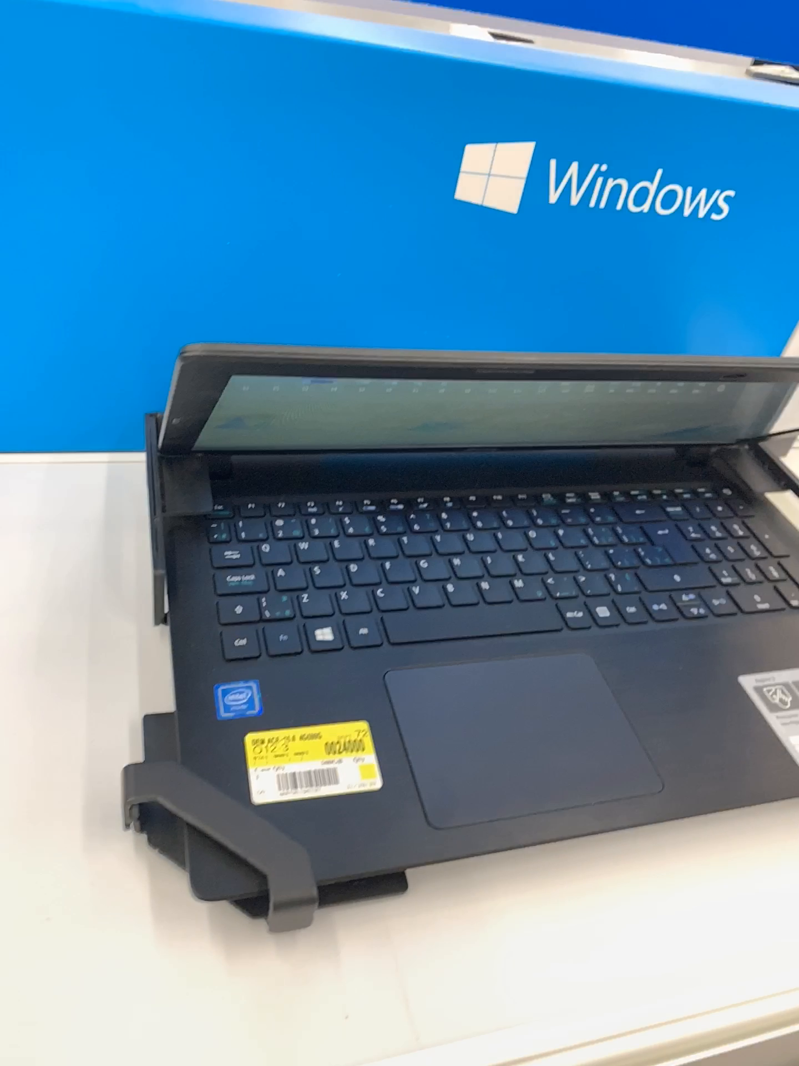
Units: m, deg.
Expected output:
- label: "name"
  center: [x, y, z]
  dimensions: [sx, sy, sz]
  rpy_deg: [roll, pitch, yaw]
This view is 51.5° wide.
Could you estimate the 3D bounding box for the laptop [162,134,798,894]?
- label: "laptop"
  center: [0.085, -0.030, 0.343]
  dimensions: [0.344, 0.157, 0.233]
  rpy_deg: [-2, 41, -17]
